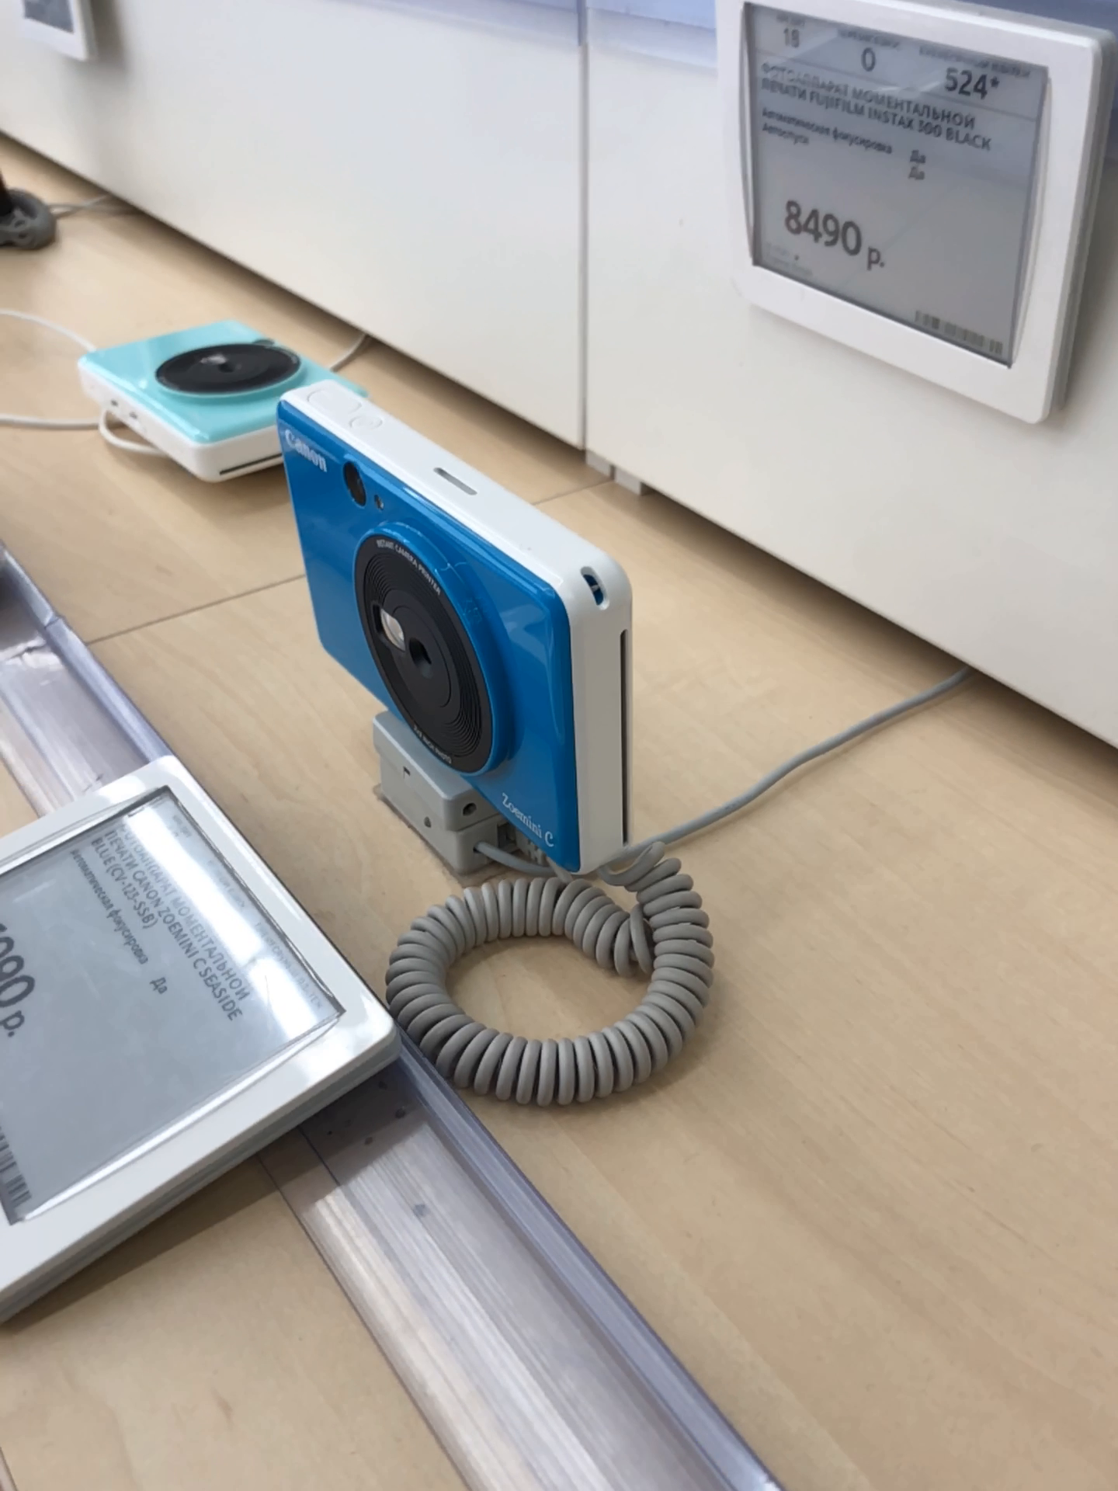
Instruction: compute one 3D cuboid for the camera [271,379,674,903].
[{"bbox_3d":[-0.022,-0.029,0.285,0.025,0.072,0.120,-27,44,-24],"label":"camera"}]
